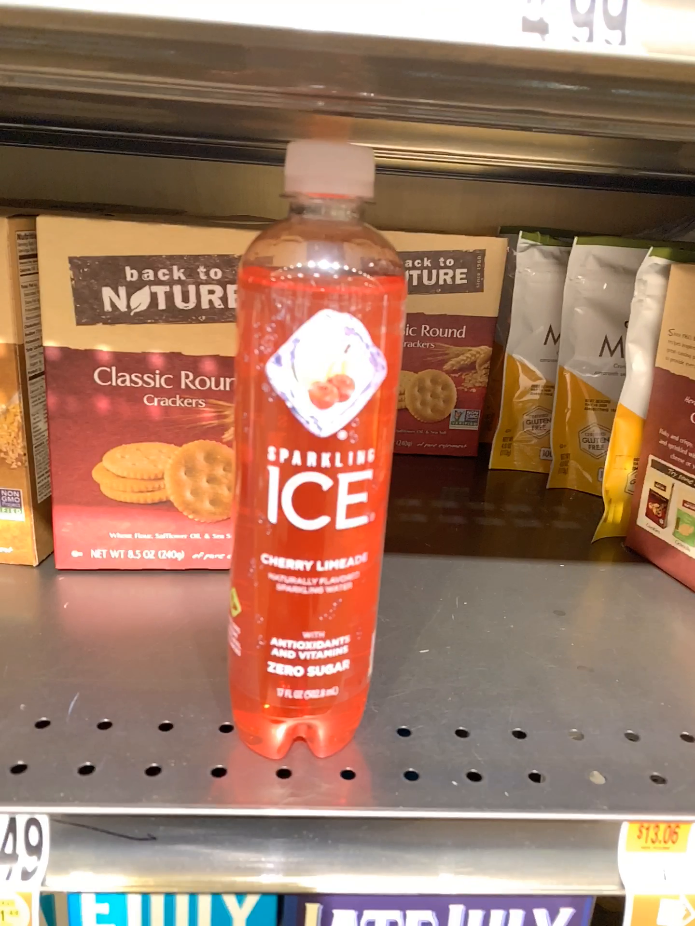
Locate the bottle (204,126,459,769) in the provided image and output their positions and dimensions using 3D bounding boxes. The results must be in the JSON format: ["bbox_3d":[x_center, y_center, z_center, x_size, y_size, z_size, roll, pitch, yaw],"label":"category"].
[{"bbox_3d":[-0.013,0.003,0.248,0.065,0.210,0.060,4,22,-2],"label":"bottle"}]
